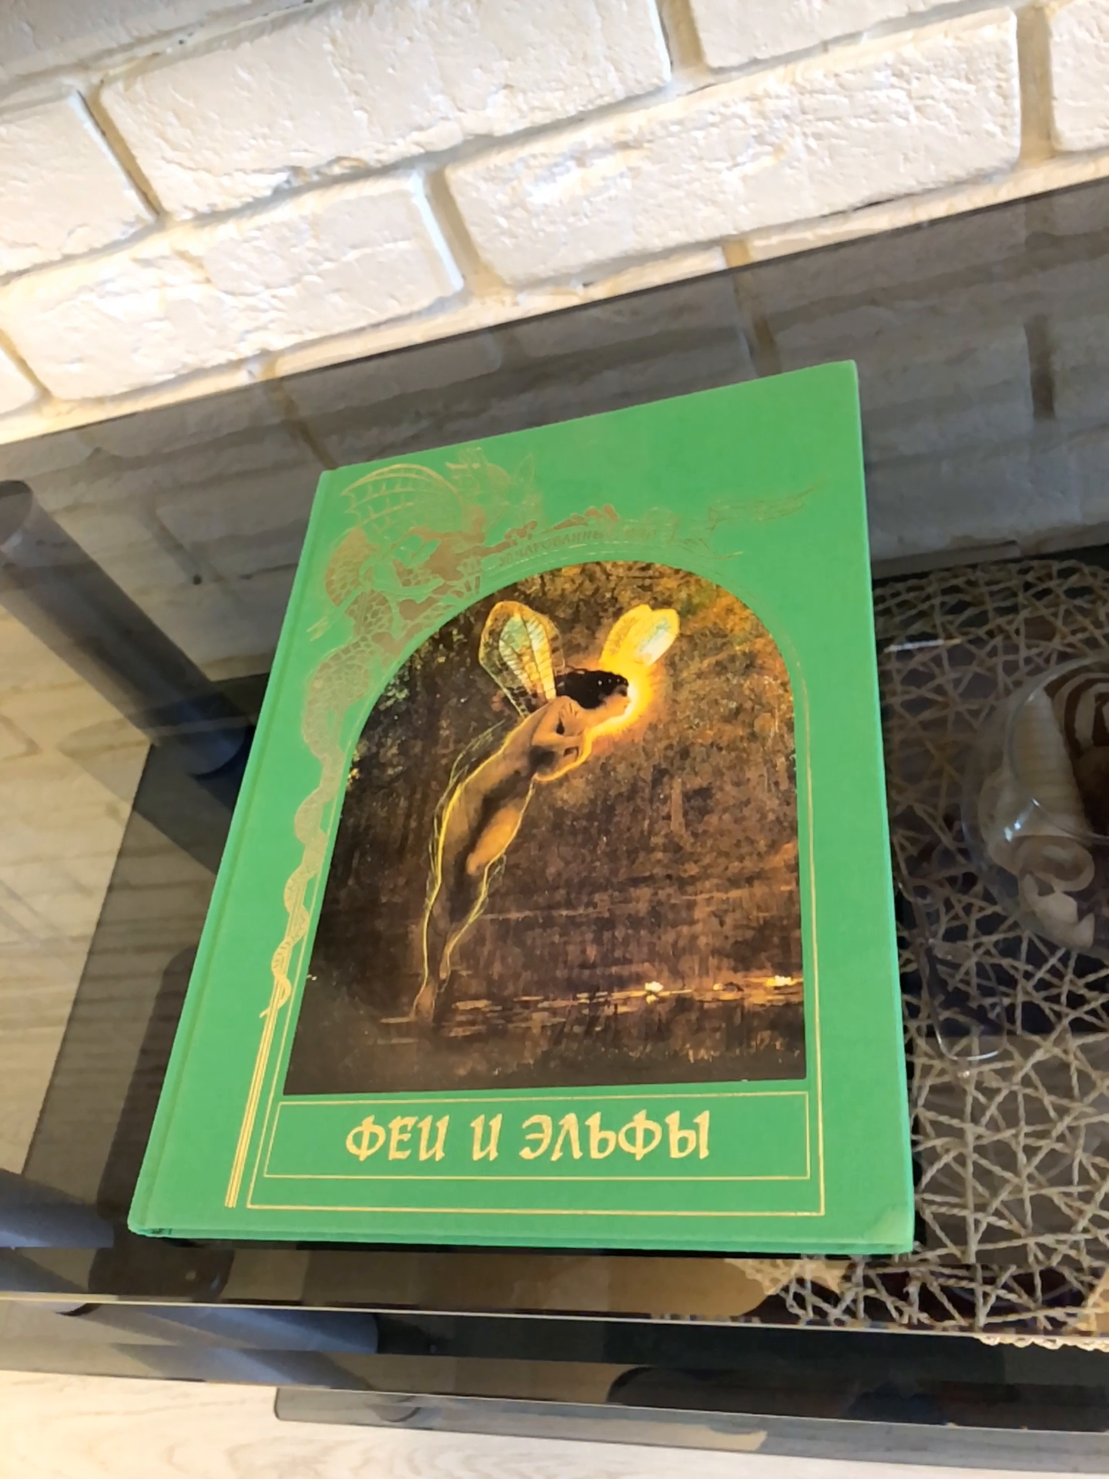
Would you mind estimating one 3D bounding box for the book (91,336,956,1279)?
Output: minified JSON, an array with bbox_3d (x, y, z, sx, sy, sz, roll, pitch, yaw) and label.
[{"bbox_3d":[-0.002,0.004,0.380,0.217,0.030,0.291,-6,54,19],"label":"book"}]
